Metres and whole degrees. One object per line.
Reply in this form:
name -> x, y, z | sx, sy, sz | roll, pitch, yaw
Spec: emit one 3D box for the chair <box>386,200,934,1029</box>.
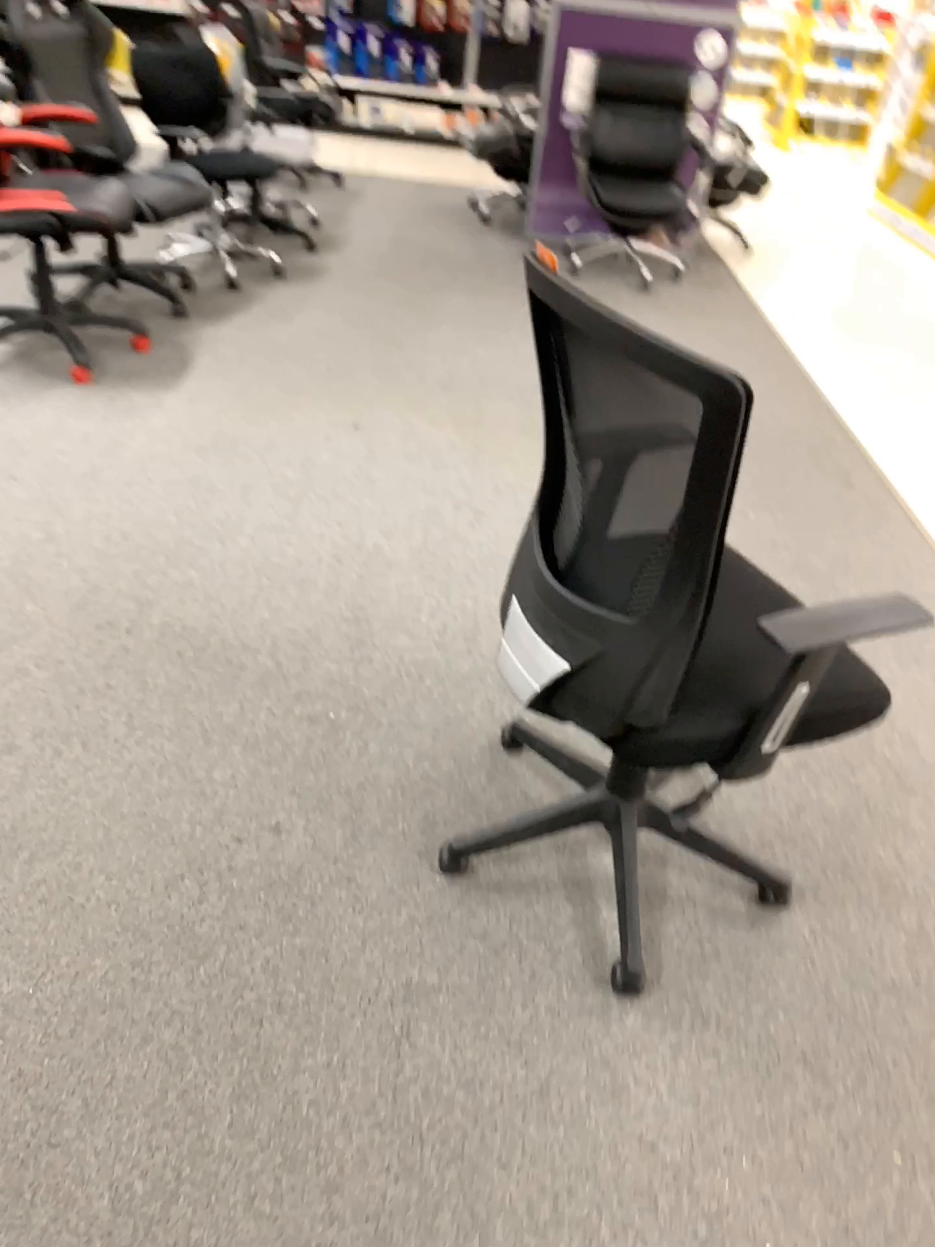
chair -> 0.299, -0.037, 1.491 | 0.641, 0.994, 0.673 | -6, 36, -19
